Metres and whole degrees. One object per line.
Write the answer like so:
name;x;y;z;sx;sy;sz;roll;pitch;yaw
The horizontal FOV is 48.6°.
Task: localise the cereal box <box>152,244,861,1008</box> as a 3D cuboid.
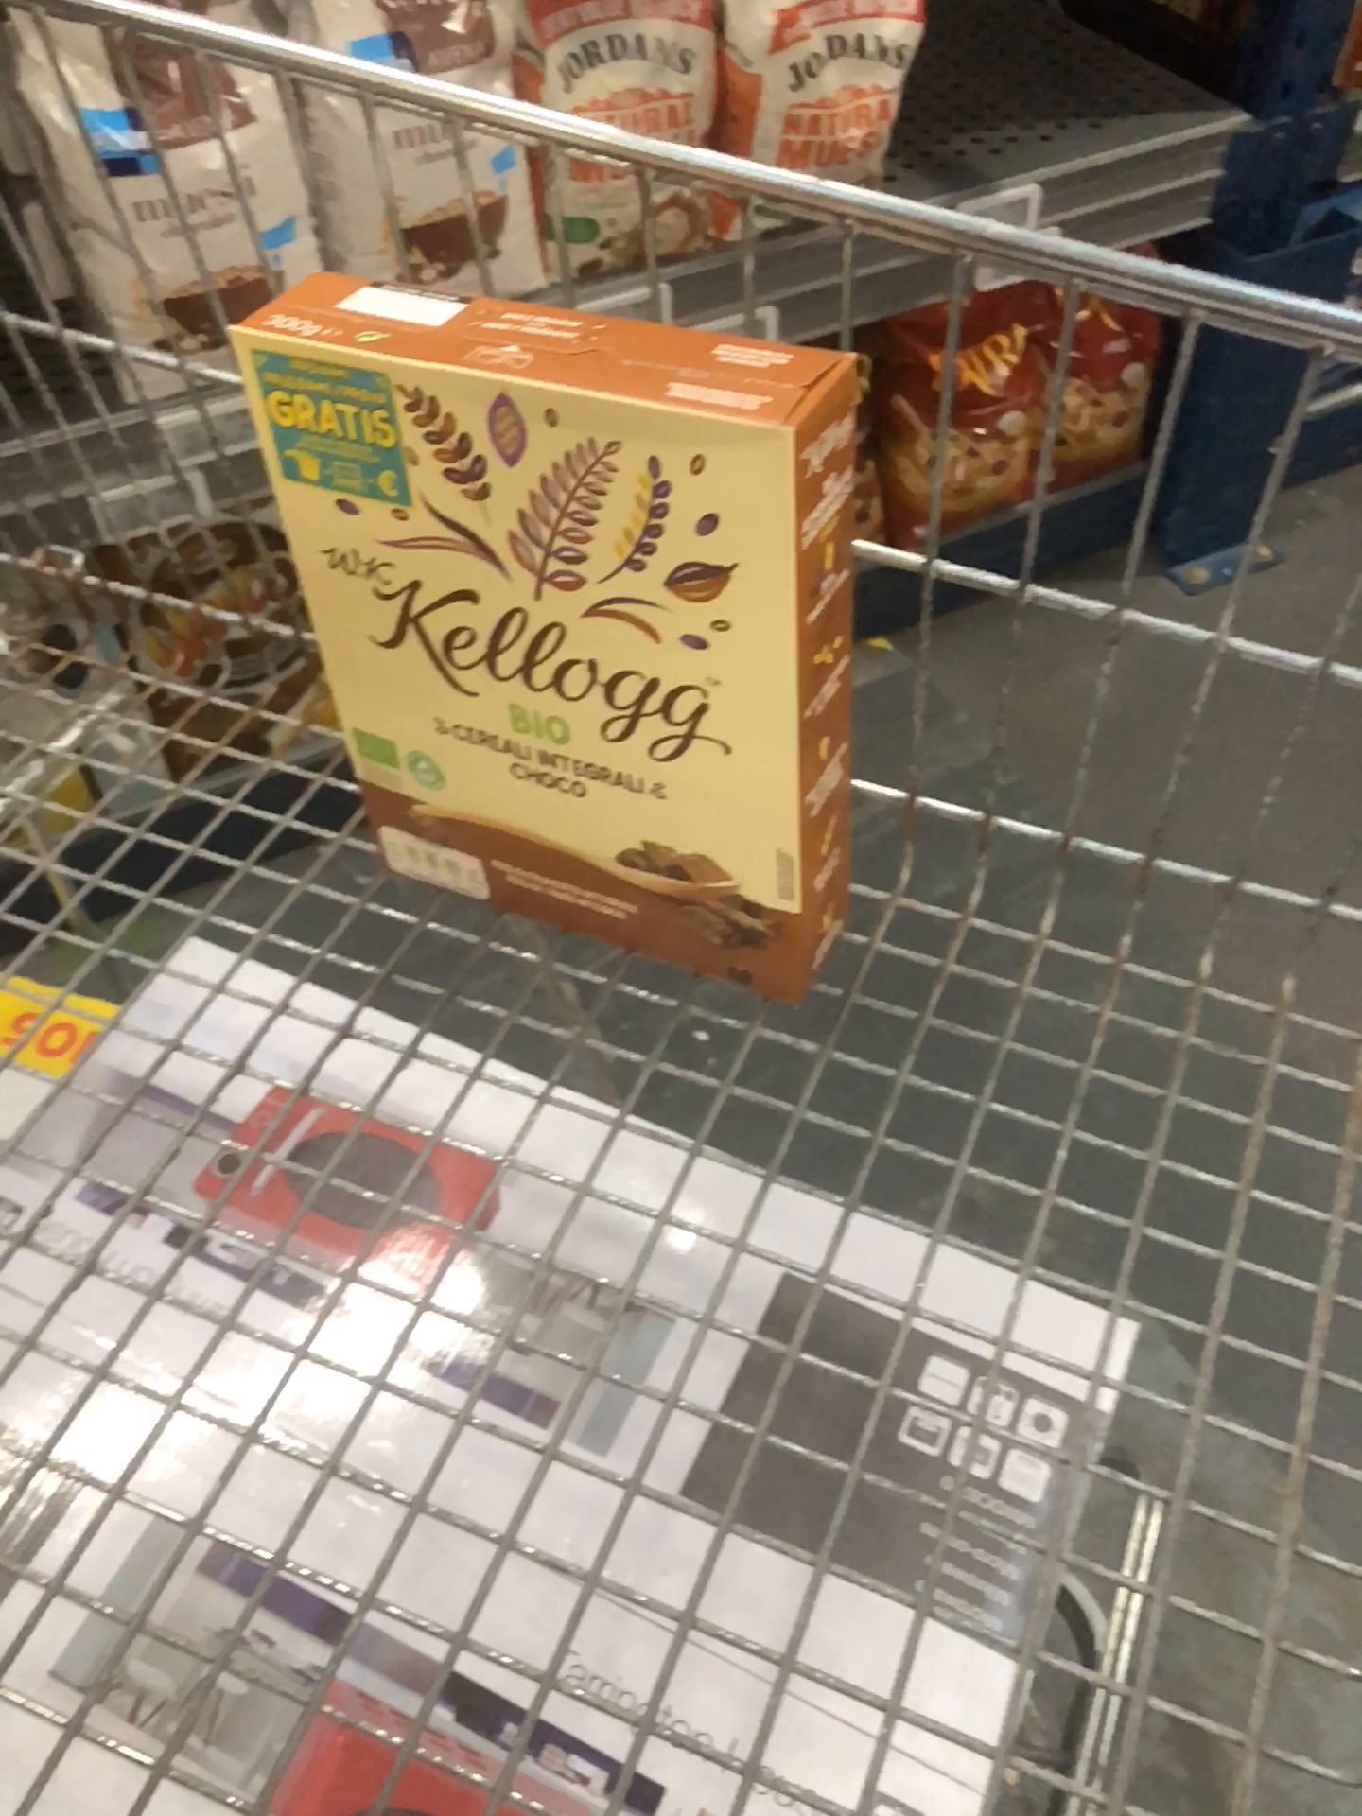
cereal box;-0.047;-0.089;0.506;0.200;0.219;0.060;16;48;21
